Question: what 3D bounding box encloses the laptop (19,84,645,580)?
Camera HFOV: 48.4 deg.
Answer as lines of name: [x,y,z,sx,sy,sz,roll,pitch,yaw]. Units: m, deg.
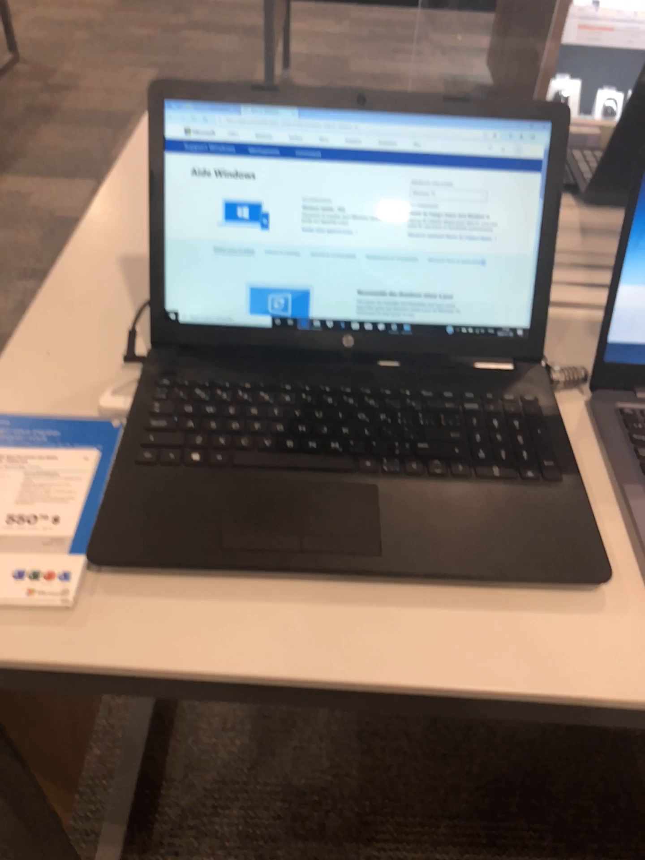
laptop: [0.024,-0.099,0.556,0.356,0.195,0.361,2,43,0]
